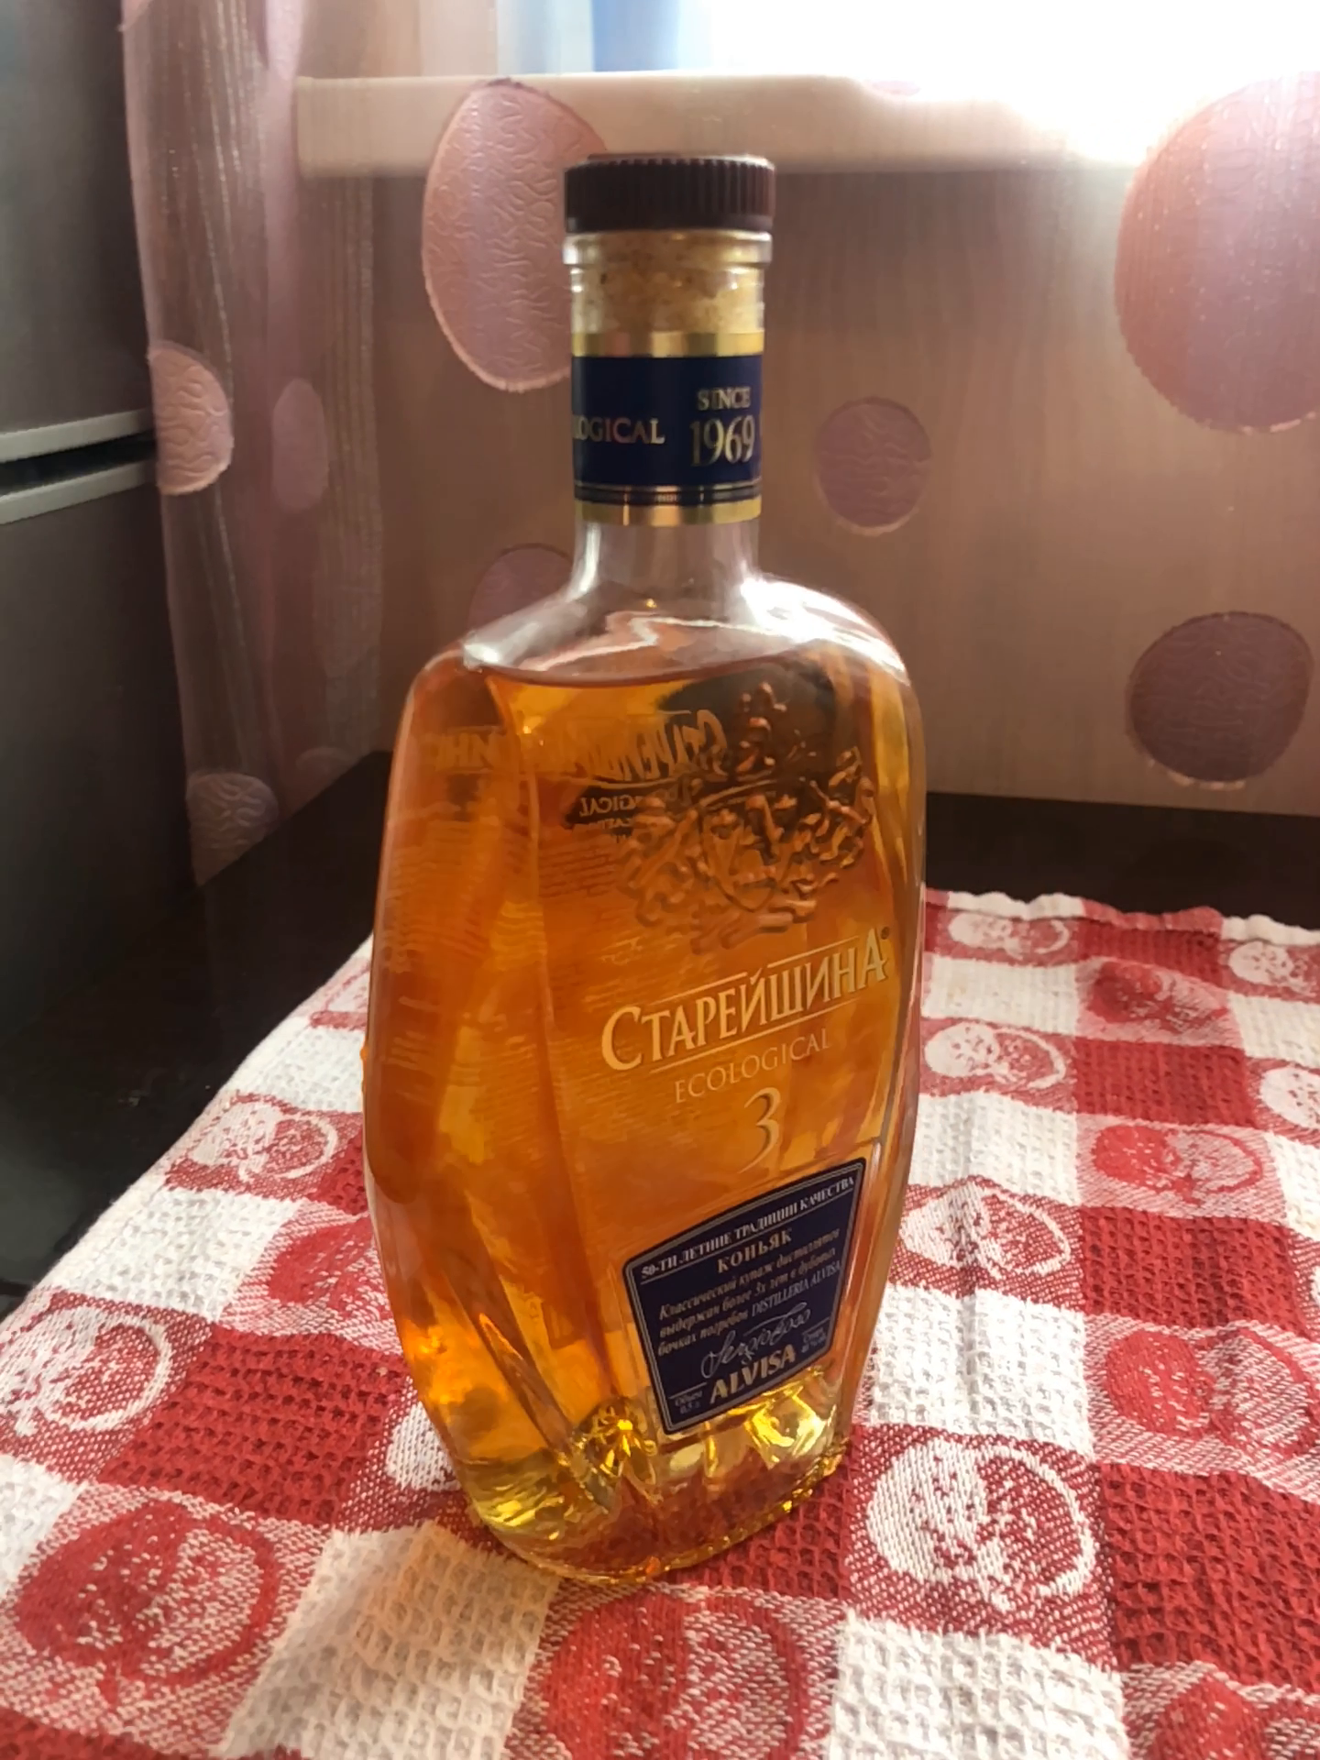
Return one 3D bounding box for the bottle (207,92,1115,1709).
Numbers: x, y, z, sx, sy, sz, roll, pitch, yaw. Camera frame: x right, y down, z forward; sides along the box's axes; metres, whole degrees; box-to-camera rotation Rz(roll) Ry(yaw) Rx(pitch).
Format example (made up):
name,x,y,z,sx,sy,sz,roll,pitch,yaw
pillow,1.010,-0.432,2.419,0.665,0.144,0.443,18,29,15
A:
name,x,y,z,sx,sy,sz,roll,pitch,yaw
bottle,0.002,0.006,0.232,0.110,0.219,0.050,-13,25,-31
